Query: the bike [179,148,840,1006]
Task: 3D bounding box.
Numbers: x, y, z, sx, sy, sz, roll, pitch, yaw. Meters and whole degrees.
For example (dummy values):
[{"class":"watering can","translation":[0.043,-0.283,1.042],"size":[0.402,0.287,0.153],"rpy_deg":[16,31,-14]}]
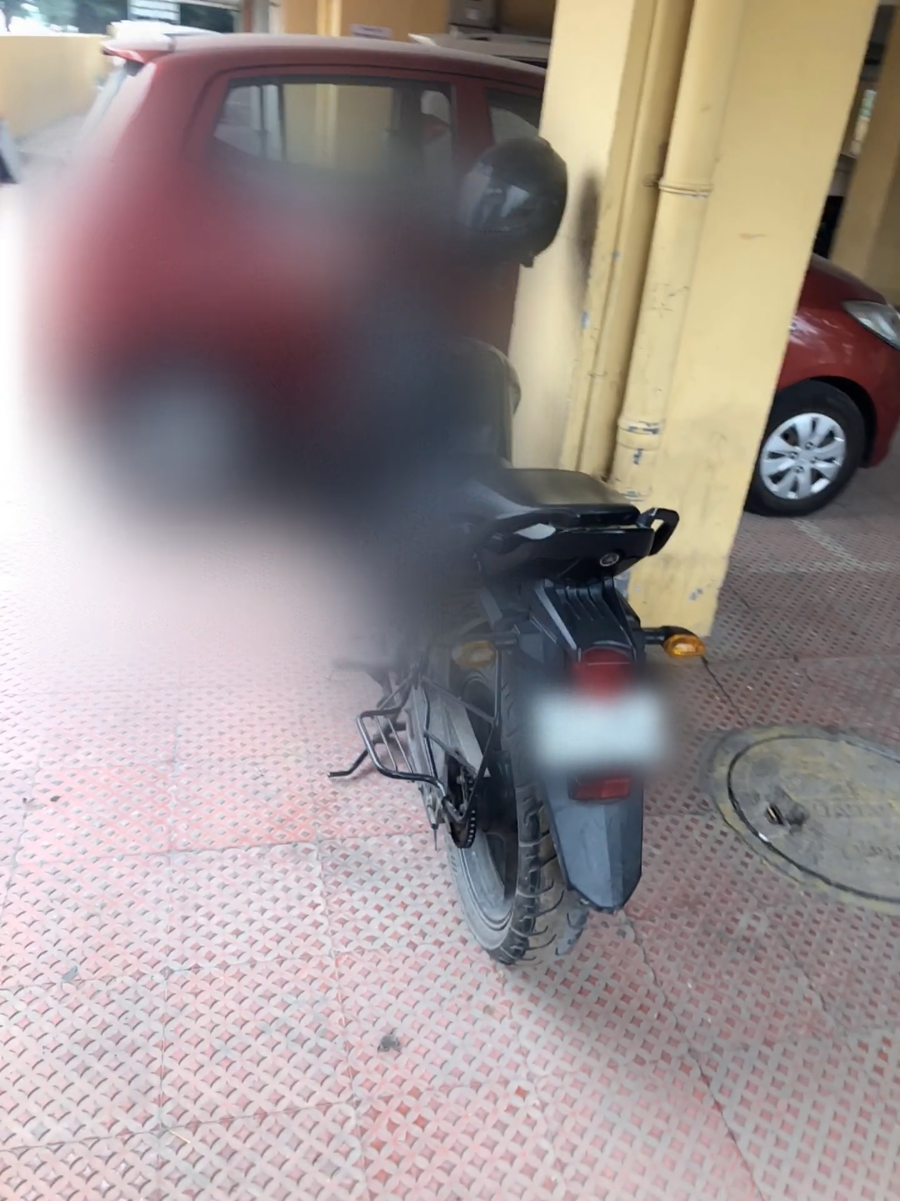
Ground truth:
[{"class":"bike","translation":[-0.146,-0.263,2.188],"size":[0.610,1.052,1.807],"rpy_deg":[-5,32,-21]}]
